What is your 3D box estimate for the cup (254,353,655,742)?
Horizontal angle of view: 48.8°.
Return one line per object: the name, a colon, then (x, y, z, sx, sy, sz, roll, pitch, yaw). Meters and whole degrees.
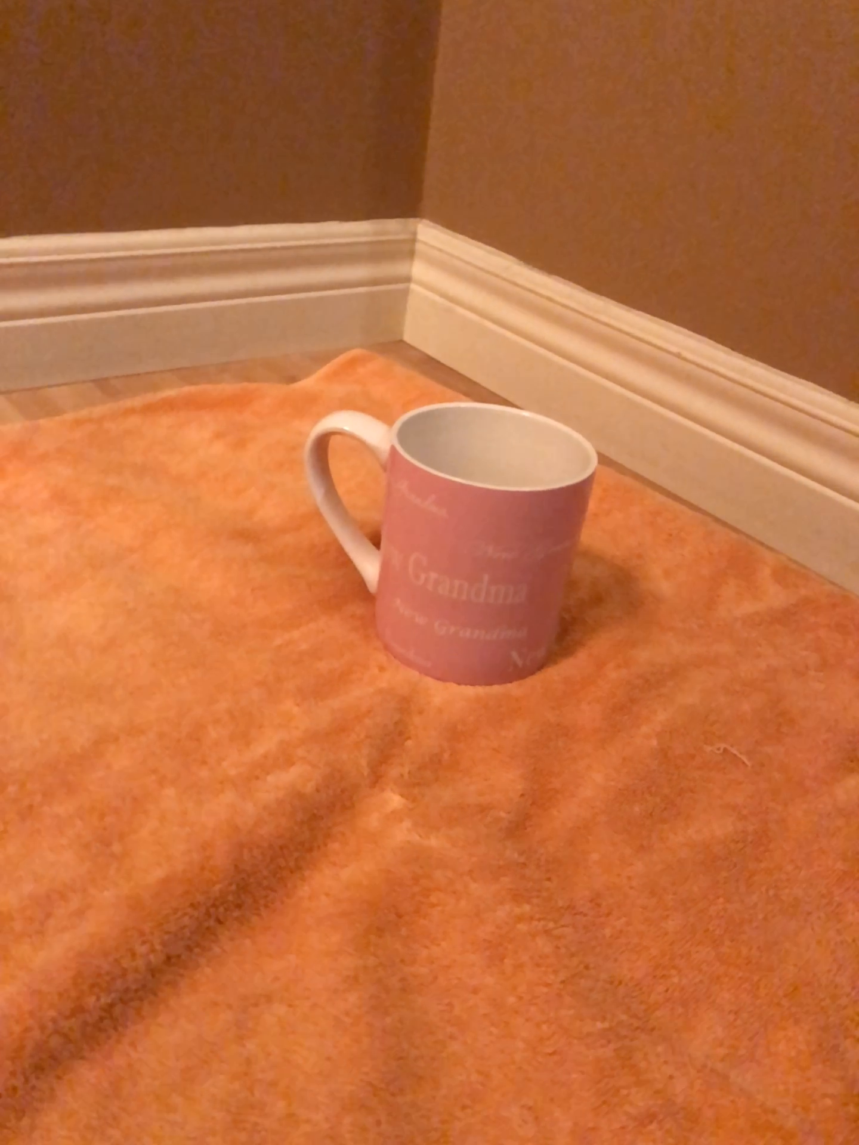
cup: (0.009, -0.020, 0.450, 0.140, 0.109, 0.110, 23, 34, 23)
